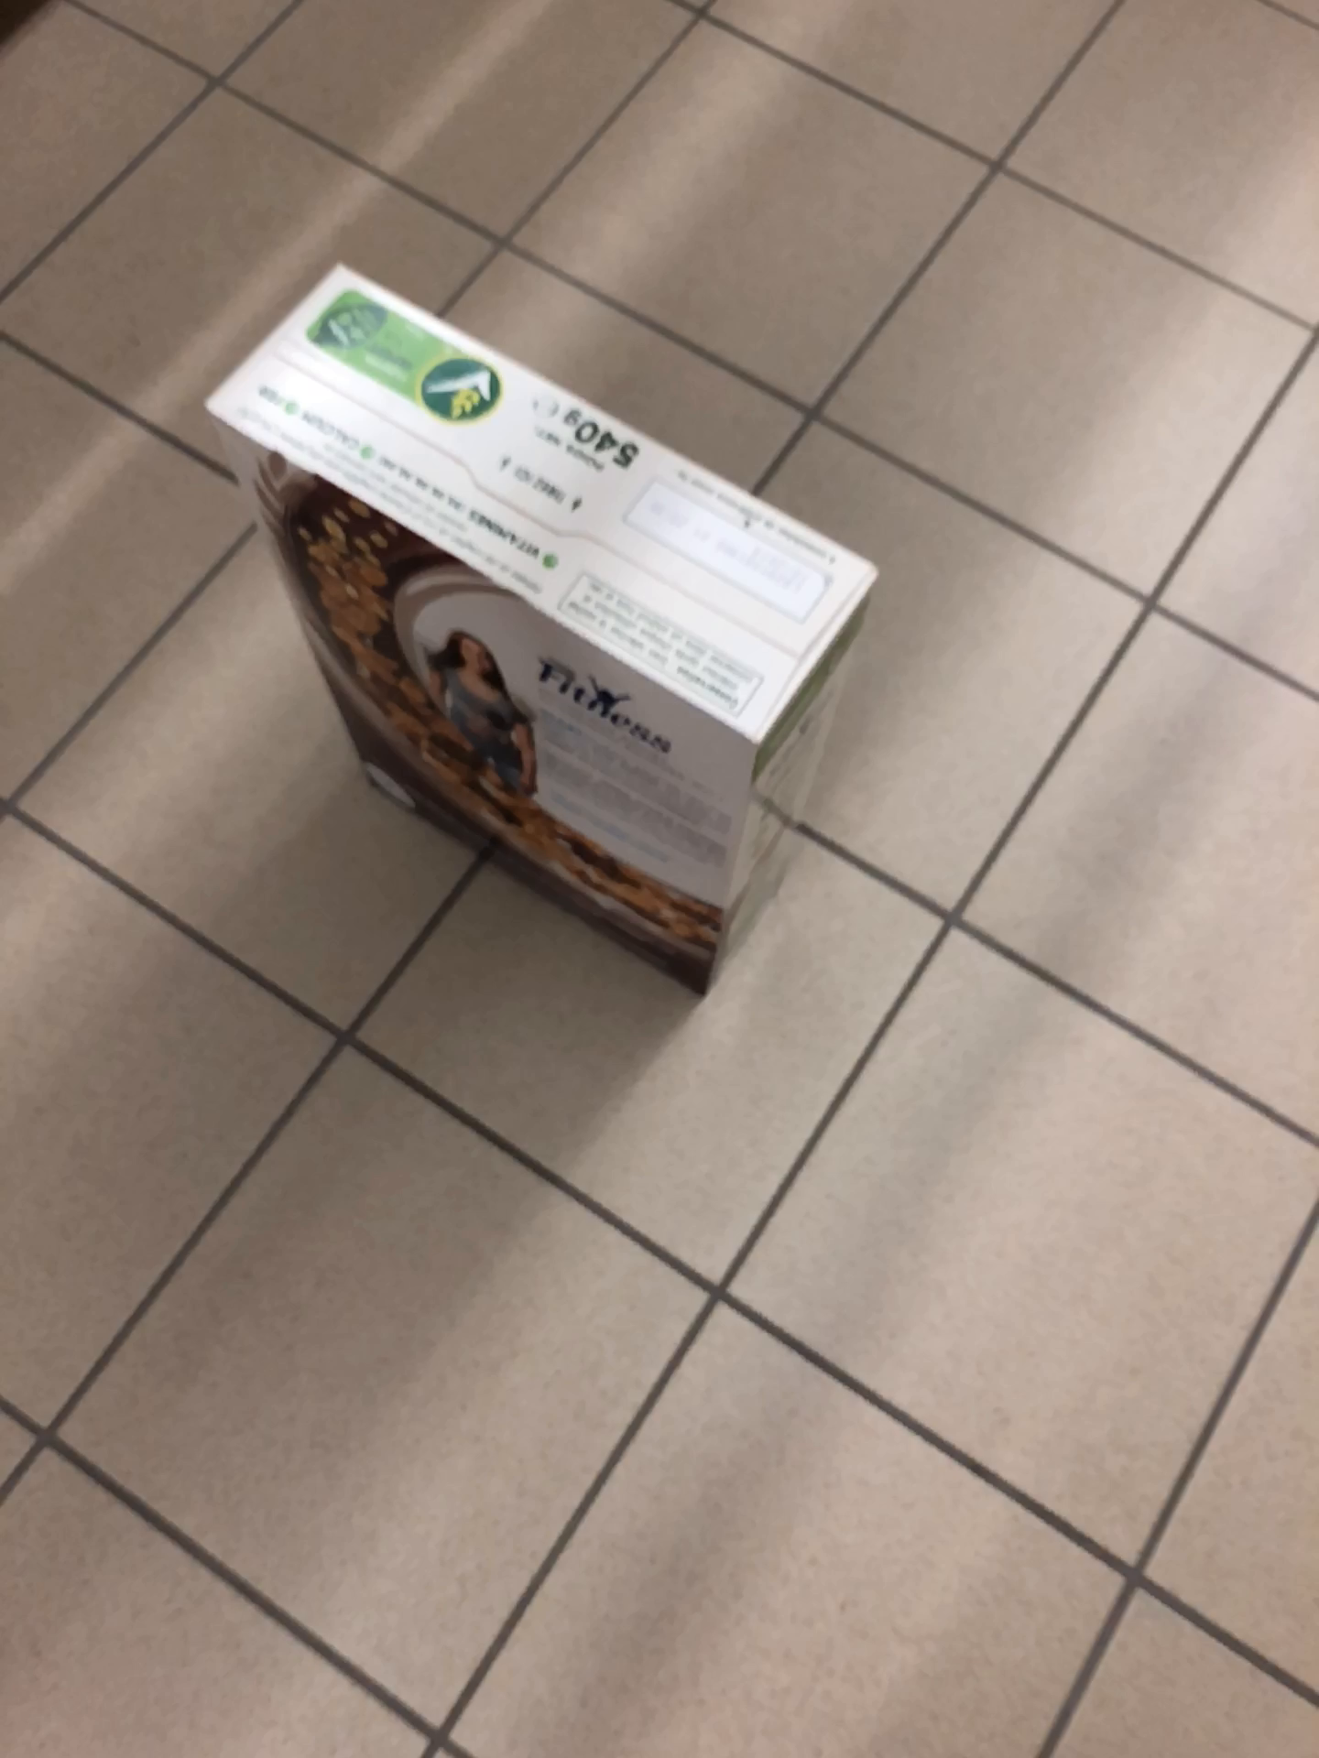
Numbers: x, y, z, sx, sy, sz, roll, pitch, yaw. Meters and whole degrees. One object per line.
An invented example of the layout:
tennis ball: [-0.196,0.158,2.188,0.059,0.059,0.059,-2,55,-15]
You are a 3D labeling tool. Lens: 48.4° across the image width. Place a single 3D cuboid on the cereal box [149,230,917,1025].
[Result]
cereal box: [-0.041,-0.066,0.550,0.210,0.279,0.080,32,73,9]
